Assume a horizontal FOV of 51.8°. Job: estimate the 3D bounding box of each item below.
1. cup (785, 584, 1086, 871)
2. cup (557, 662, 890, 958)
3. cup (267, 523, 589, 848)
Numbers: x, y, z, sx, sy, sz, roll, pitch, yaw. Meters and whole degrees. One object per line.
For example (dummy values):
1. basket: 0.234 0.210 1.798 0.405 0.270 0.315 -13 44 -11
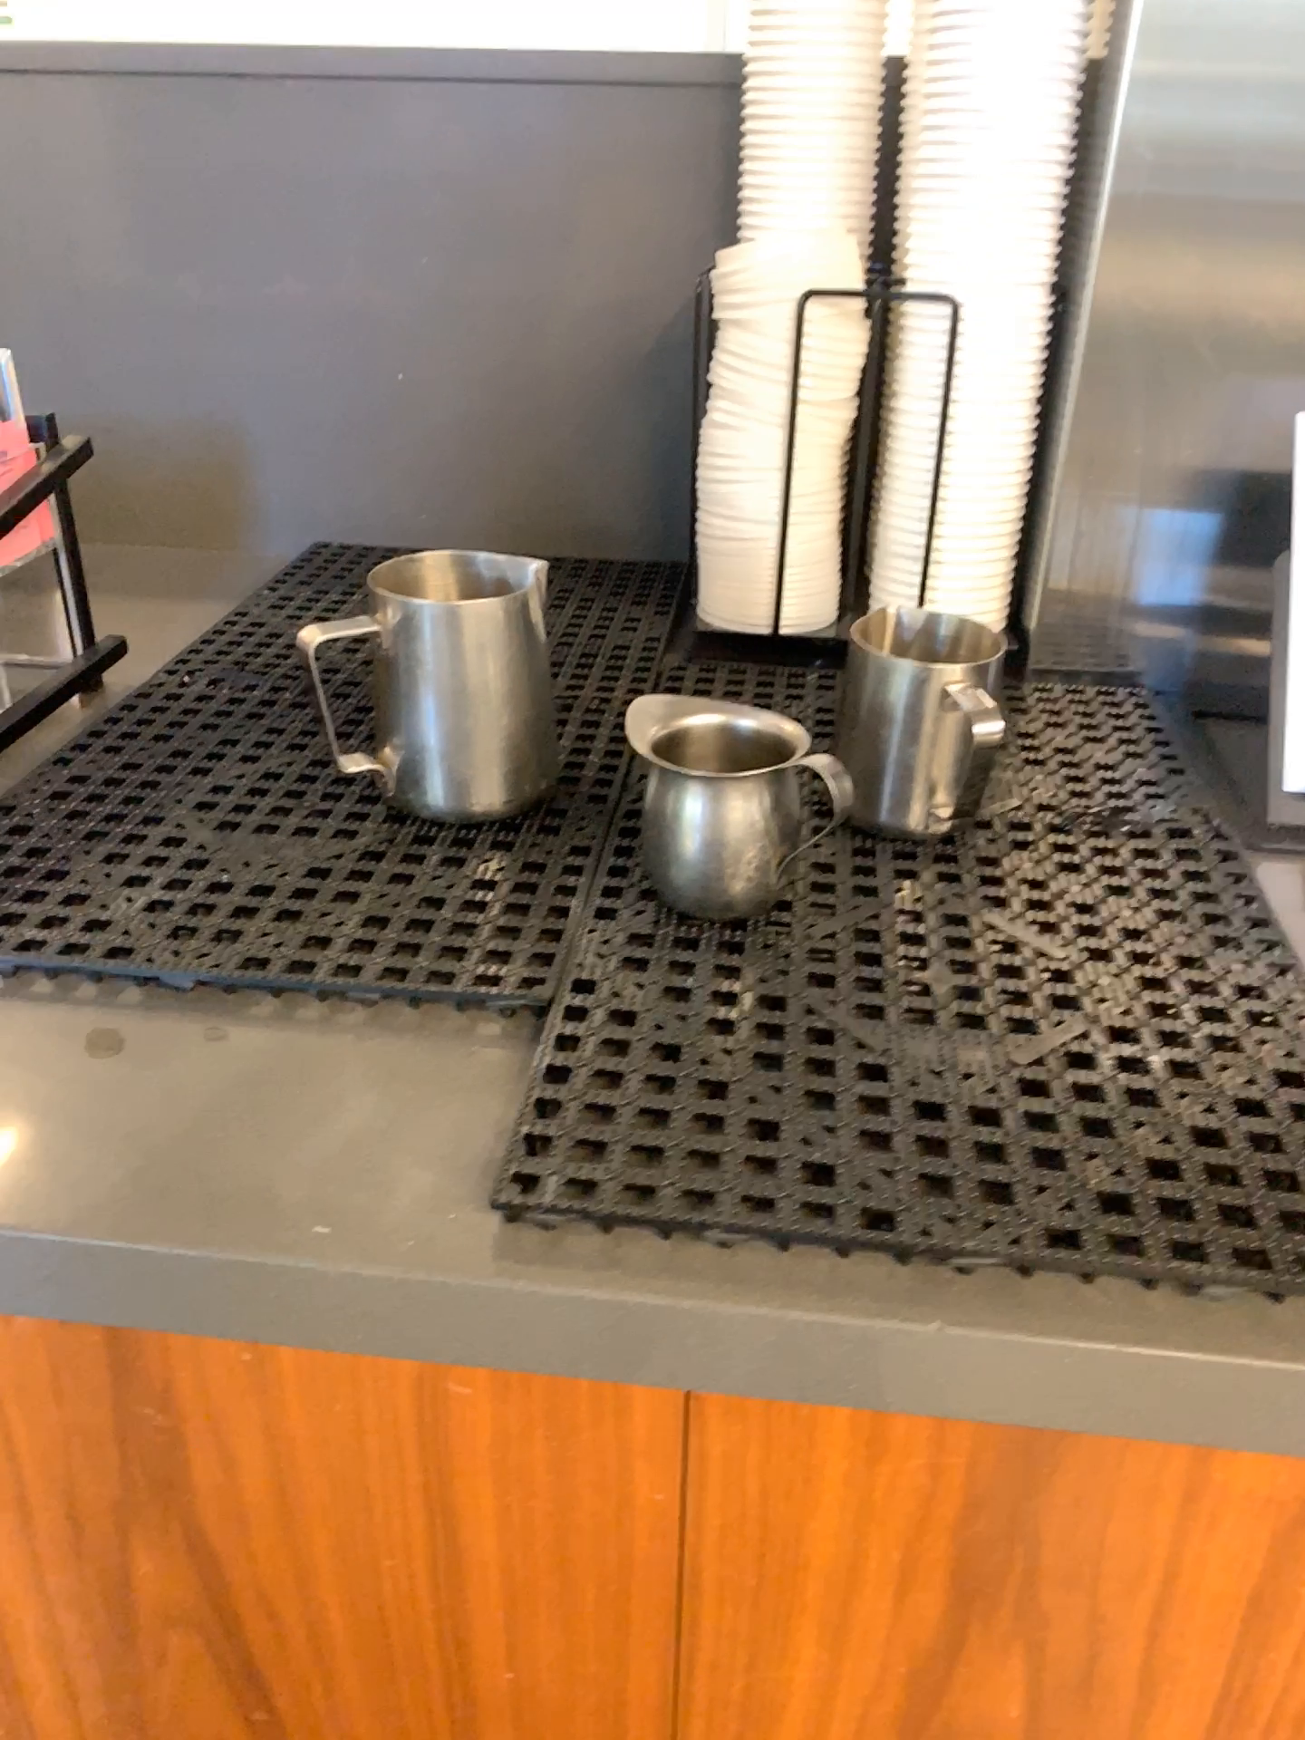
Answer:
1. cup: 0.120 -0.069 0.604 0.080 0.080 0.131 -5 29 -11
2. cup: 0.026 -0.028 0.540 0.110 0.070 0.070 24 36 35
3. cup: -0.099 -0.088 0.613 0.120 0.109 0.070 -18 34 -31
